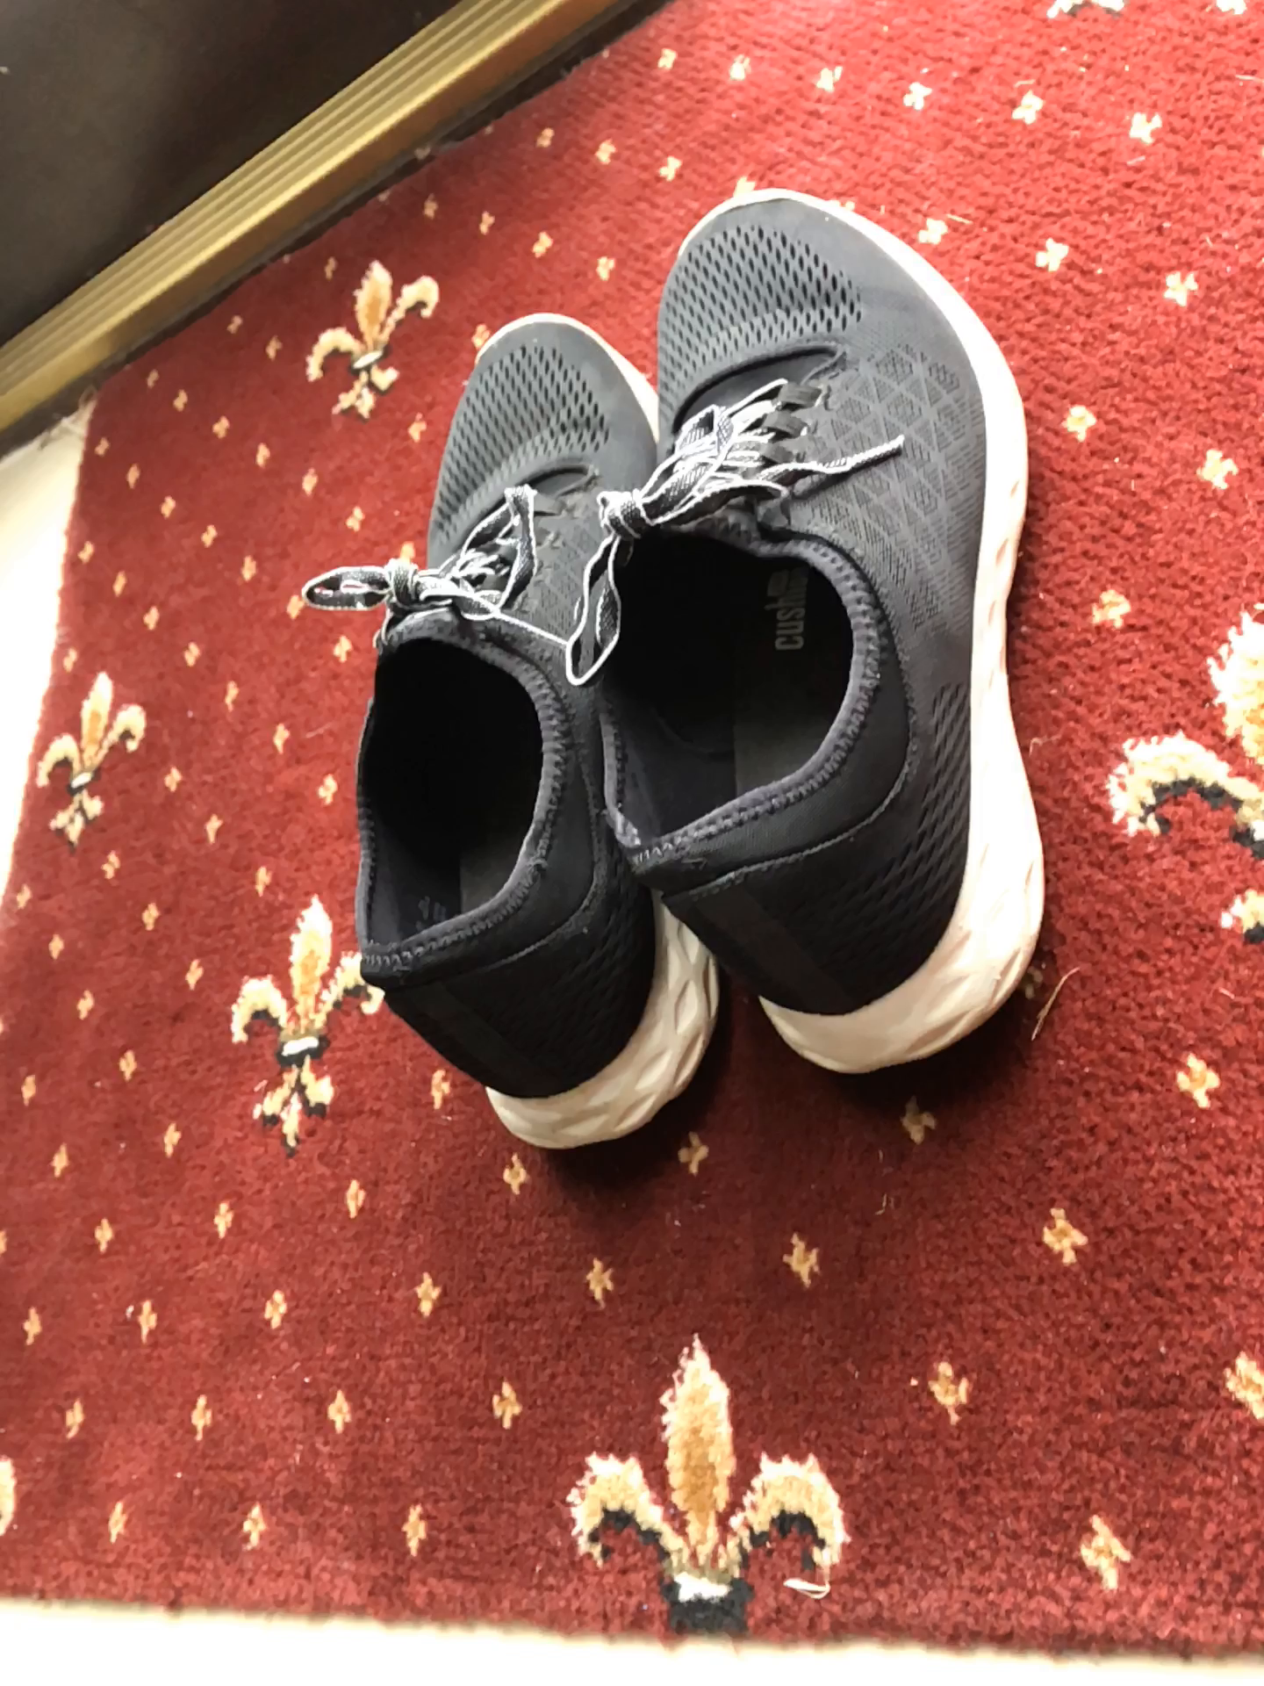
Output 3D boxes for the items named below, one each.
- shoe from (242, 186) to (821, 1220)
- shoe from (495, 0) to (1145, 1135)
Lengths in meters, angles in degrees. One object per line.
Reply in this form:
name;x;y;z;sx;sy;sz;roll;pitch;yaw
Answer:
shoe;-0.027;-0.040;0.419;0.100;0.109;0.271;-20;58;31
shoe;0.044;-0.076;0.365;0.100;0.109;0.271;-17;59;32
